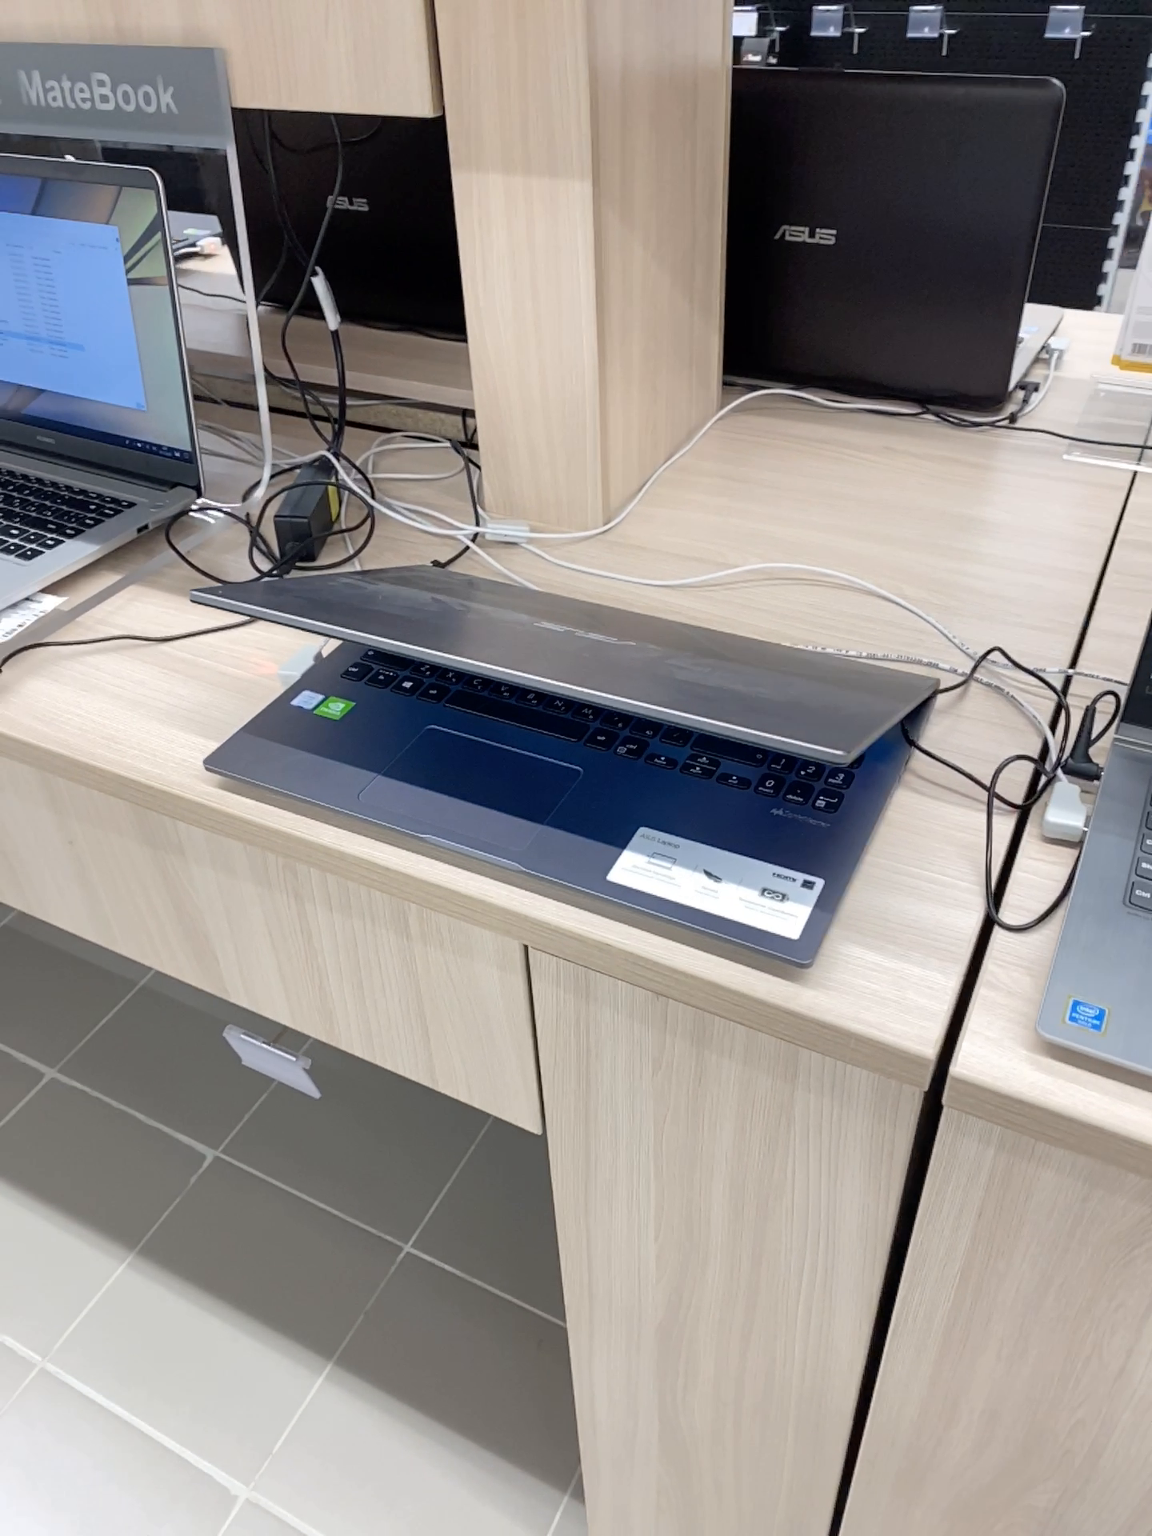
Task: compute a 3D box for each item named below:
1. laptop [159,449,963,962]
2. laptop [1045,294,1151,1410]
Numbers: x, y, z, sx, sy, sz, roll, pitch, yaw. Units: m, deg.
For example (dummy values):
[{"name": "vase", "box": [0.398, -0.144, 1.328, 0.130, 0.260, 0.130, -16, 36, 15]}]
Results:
[{"name": "laptop", "box": [-0.002, -0.060, 0.646, 0.355, 0.097, 0.230, 16, 41, 23]}, {"name": "laptop", "box": [0.408, -0.009, 0.448, 0.352, 0.222, 0.259, 15, 42, 22]}]
